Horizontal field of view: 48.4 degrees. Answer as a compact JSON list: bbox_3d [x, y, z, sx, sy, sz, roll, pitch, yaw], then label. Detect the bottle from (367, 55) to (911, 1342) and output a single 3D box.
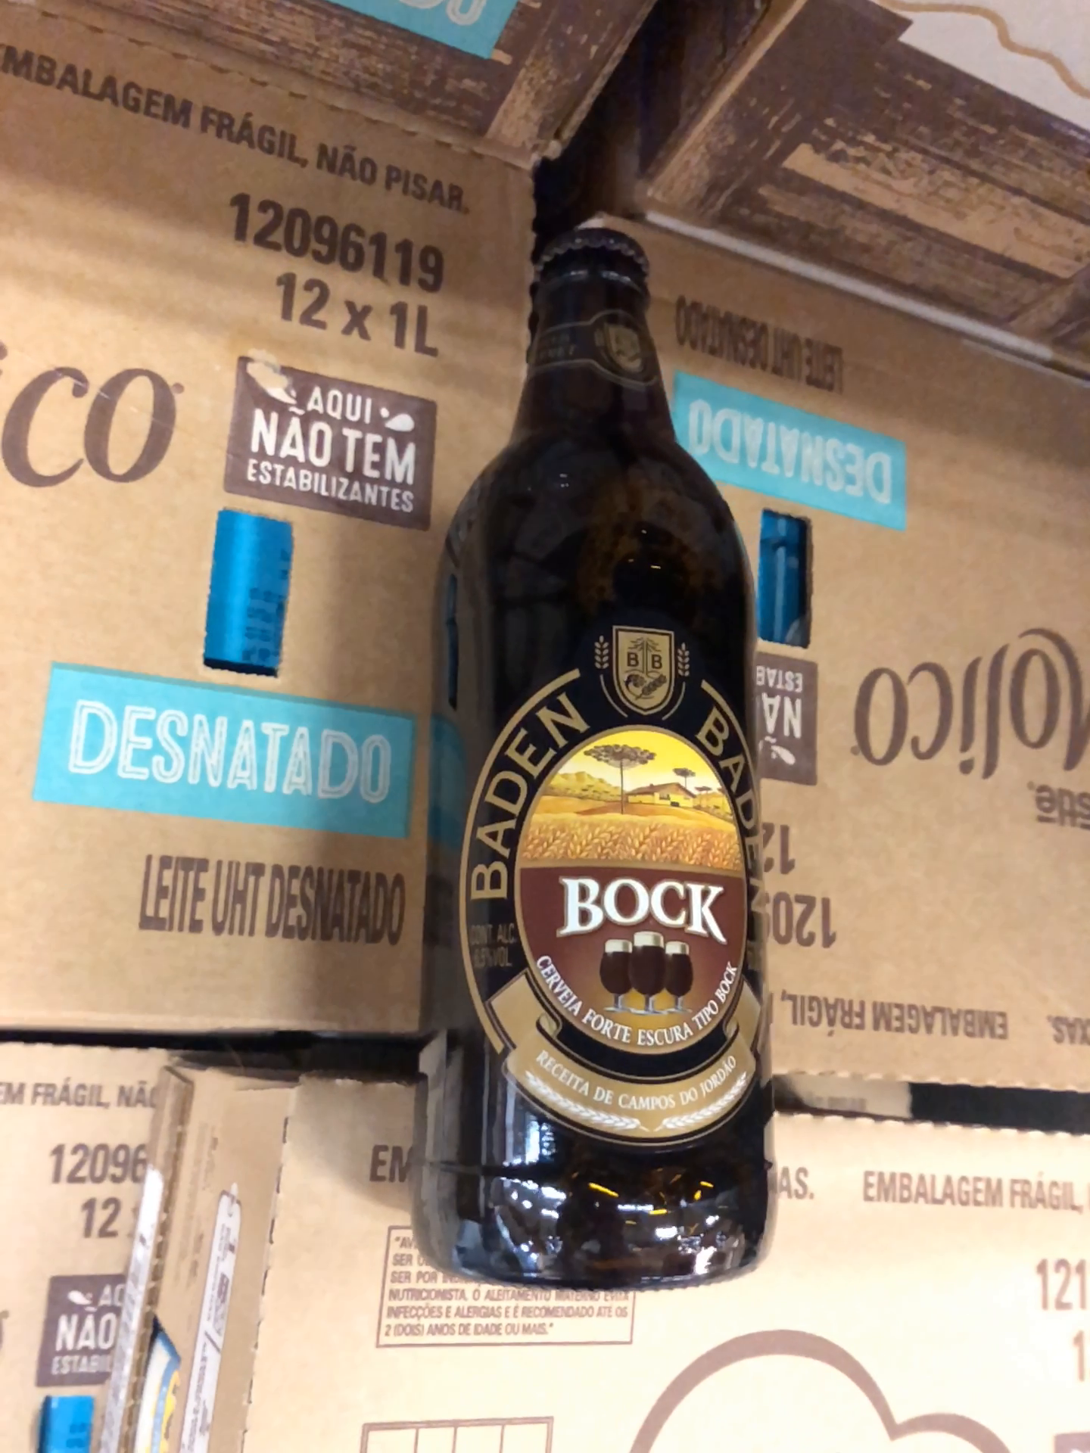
[{"bbox_3d":[0.014,-0.008,0.257,0.080,0.070,0.230,6,76,-23],"label":"bottle"}]
